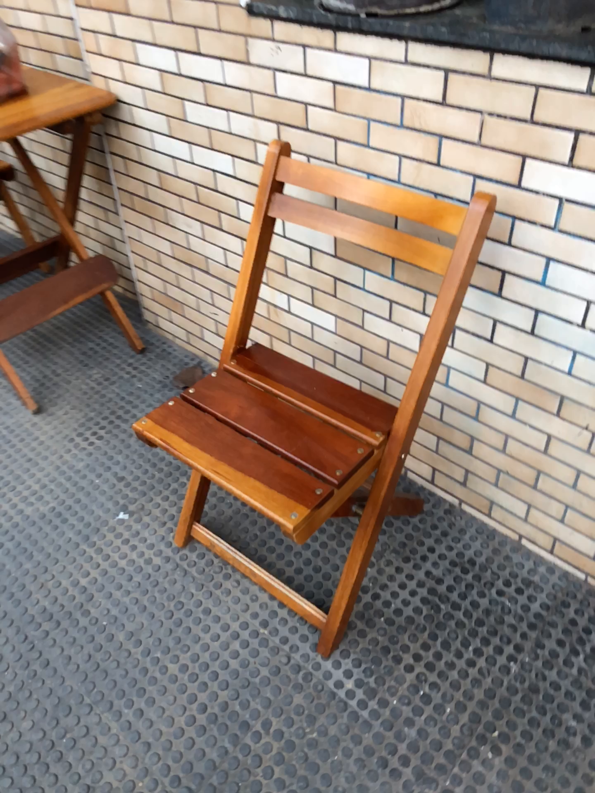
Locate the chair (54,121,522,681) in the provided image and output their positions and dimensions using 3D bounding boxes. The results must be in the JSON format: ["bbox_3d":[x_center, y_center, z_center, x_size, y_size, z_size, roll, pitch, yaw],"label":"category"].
[{"bbox_3d":[0.003,0.005,1.187,0.471,0.764,0.492,27,48,29],"label":"chair"}]
